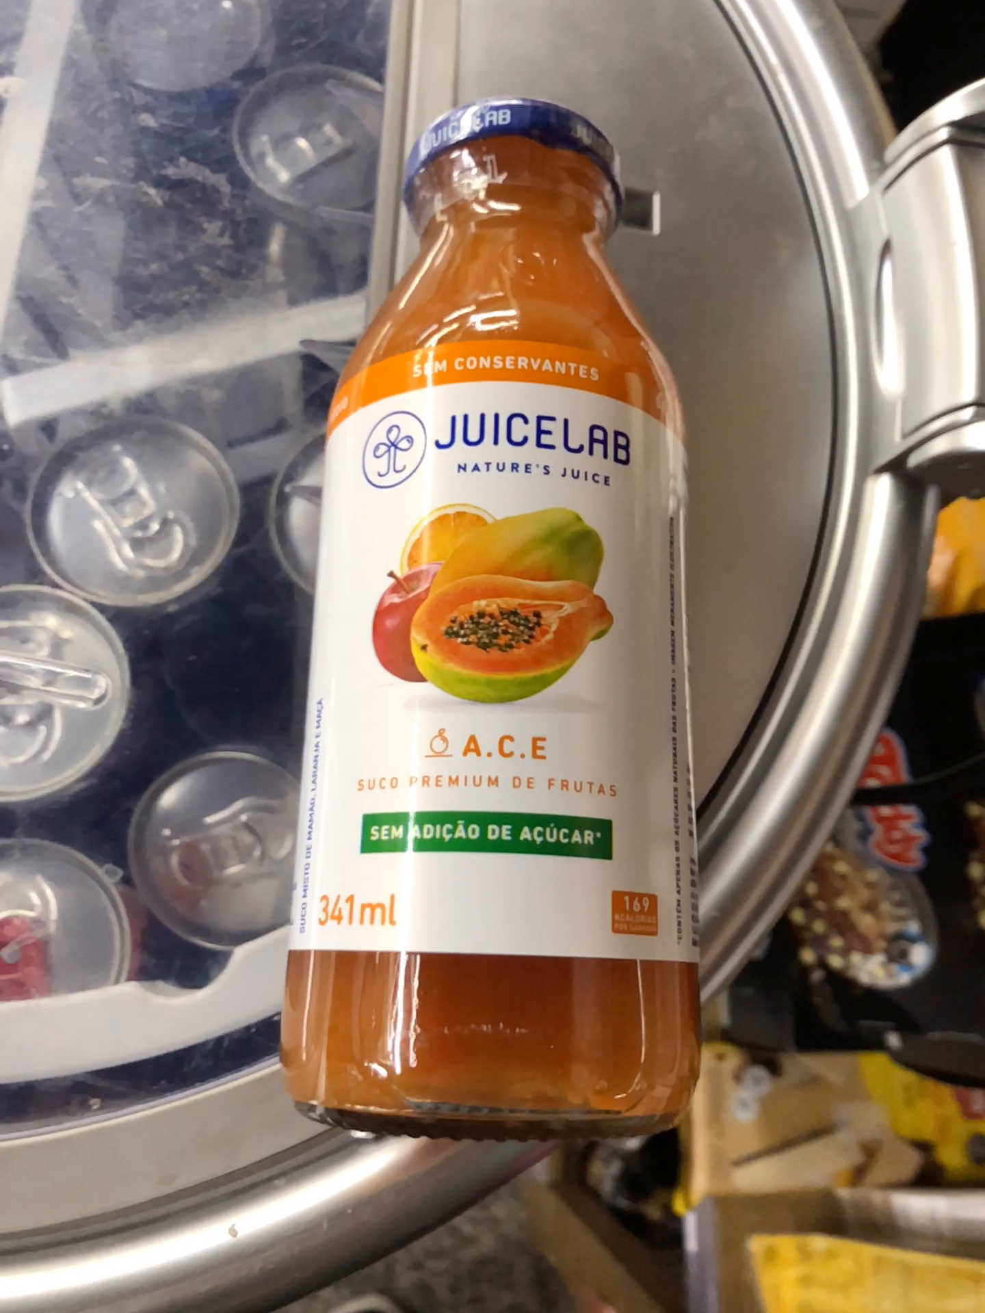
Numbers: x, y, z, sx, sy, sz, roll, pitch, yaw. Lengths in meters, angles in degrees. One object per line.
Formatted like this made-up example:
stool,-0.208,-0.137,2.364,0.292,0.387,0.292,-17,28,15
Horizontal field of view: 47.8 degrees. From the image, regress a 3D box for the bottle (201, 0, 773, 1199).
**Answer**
bottle,0.003,-0.021,0.184,0.070,0.050,0.190,4,76,-2
